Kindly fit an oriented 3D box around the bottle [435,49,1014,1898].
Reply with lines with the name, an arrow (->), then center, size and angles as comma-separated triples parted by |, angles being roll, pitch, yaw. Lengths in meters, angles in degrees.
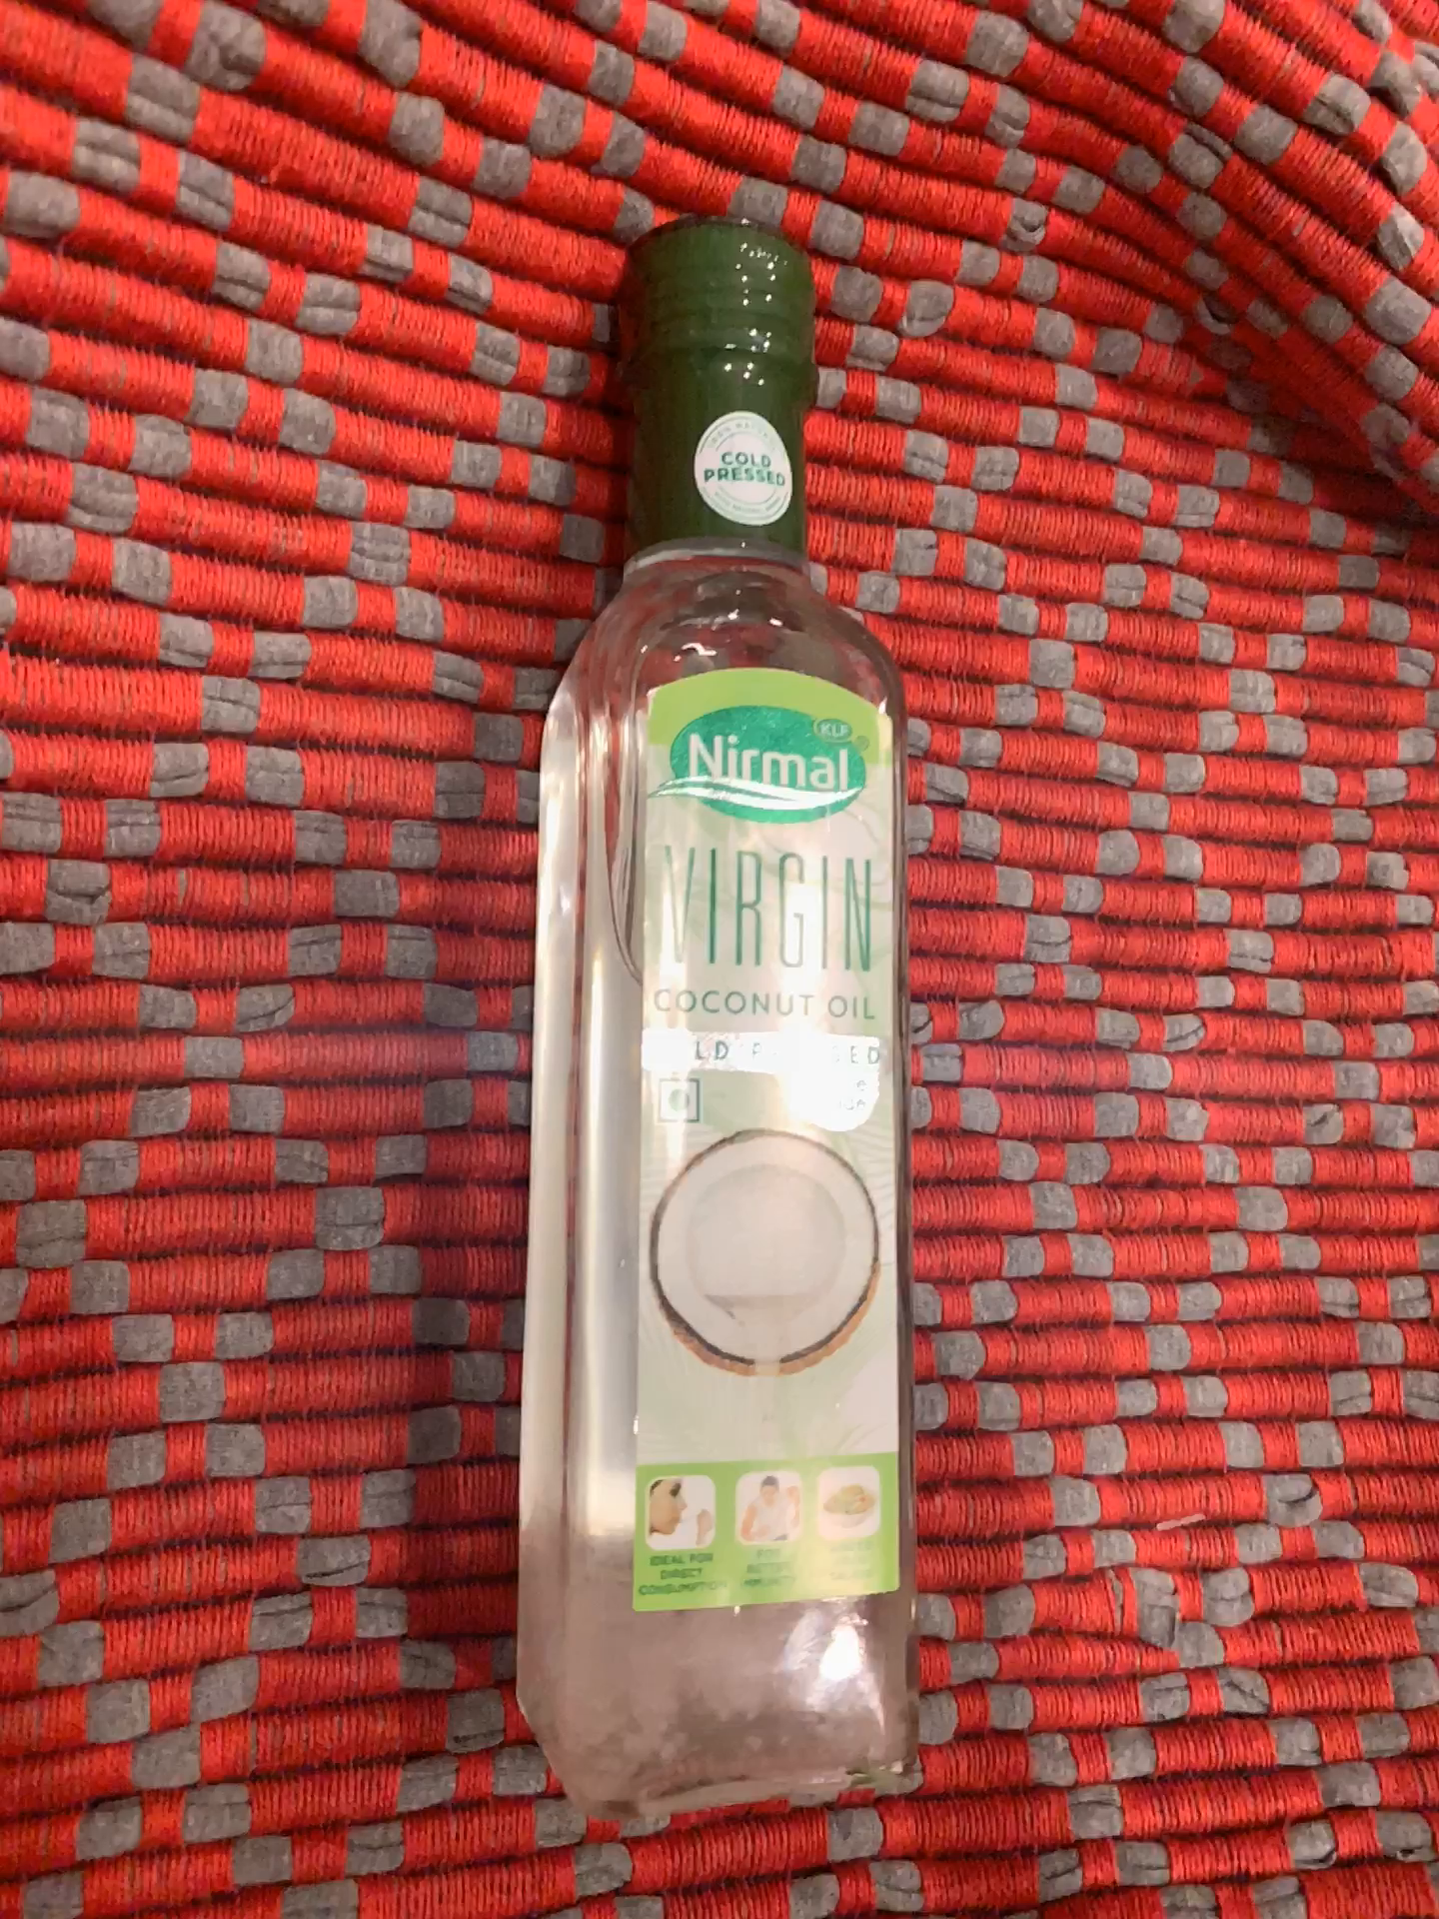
bottle -> -0.005, -0.004, 0.213 | 0.060, 0.060, 0.220 | 2, 80, -18
